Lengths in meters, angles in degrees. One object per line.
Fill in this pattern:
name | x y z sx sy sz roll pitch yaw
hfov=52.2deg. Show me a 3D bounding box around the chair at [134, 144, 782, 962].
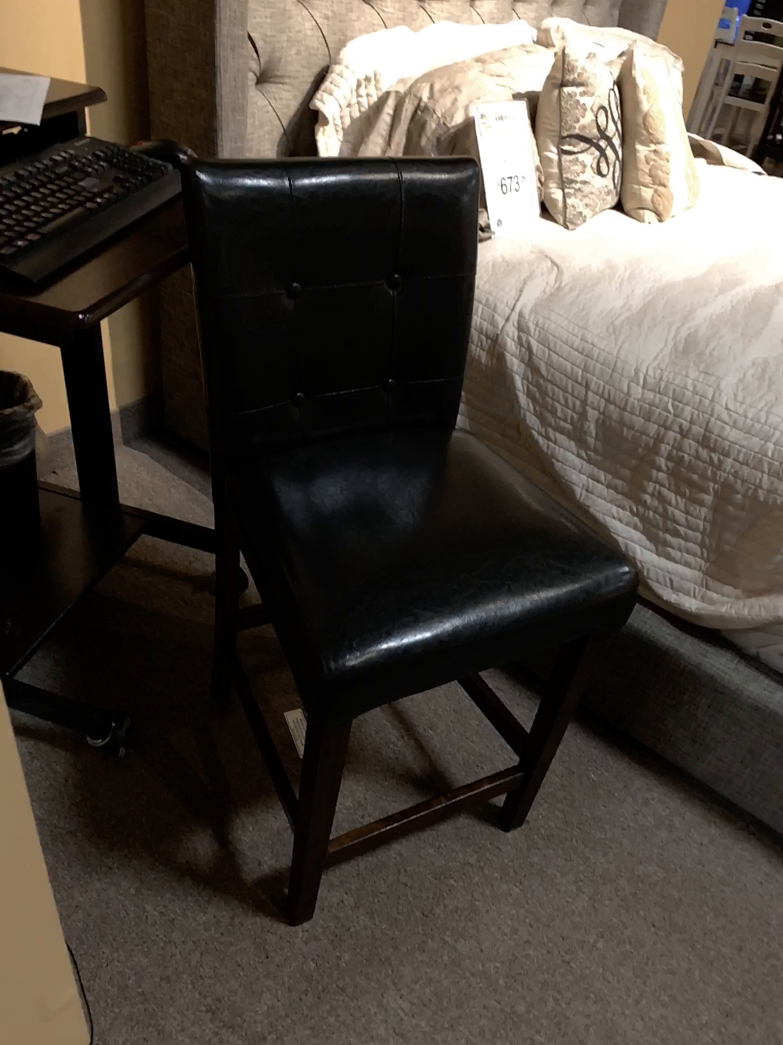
chair | 0.019 0.035 1.116 0.559 0.912 0.519 -12 42 -26
